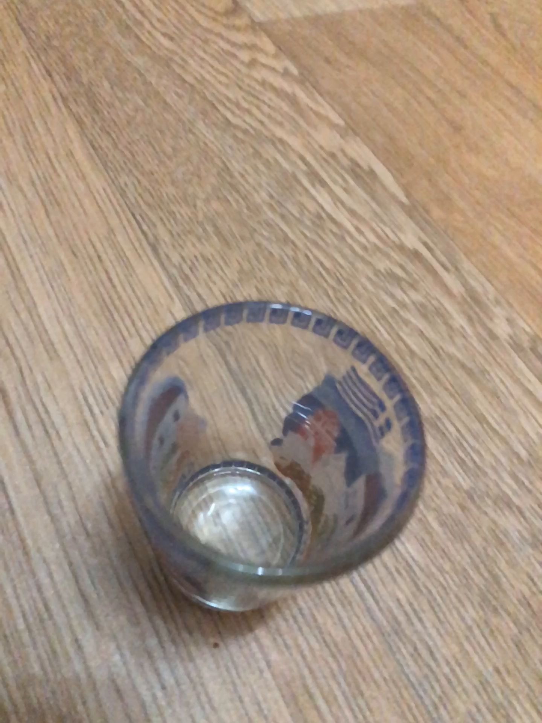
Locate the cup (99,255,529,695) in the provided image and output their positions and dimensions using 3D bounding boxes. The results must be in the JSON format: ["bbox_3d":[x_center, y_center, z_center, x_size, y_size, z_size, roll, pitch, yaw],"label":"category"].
[{"bbox_3d":[0.001,0.023,0.118,0.050,0.060,0.050,6,55,-9],"label":"cup"}]
